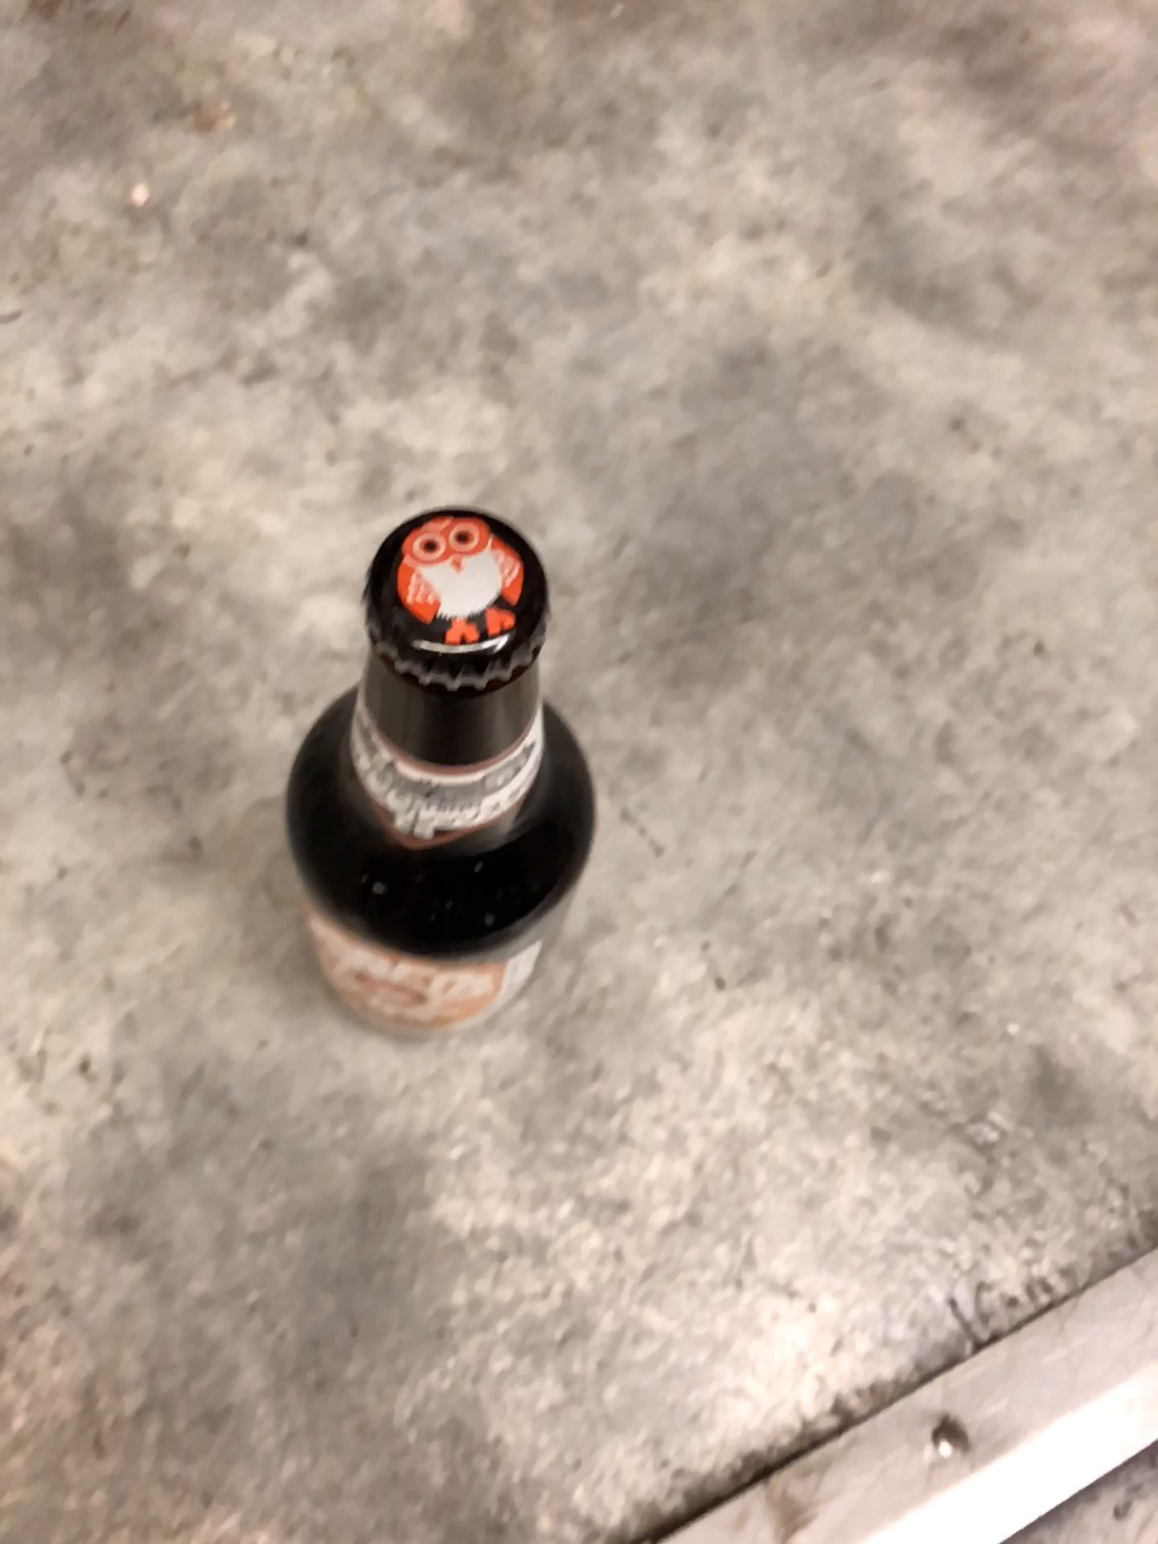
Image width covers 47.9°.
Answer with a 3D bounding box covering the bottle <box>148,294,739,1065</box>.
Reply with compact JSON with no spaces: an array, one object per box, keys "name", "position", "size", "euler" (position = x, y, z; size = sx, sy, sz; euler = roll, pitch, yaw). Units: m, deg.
[{"name":"bottle","position":[-0.026,0.002,0.266],"size":[0.063,0.181,0.069],"euler":[2,68,-6]}]
